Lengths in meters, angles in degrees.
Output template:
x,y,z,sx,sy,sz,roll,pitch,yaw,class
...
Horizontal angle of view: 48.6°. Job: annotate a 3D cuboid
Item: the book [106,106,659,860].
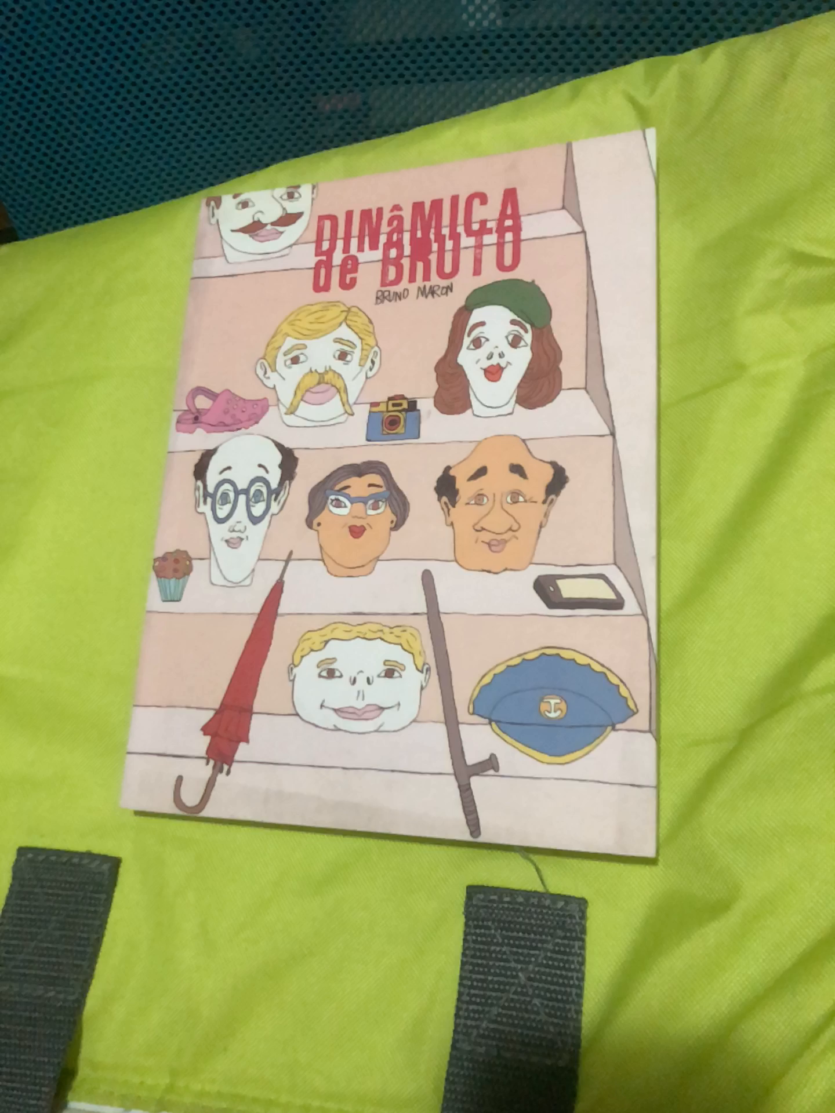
x,y,z,sx,sy,sz,roll,pitch,yaw,class
-0.010,-0.030,0.318,0.178,0.020,0.240,-1,75,20,book
